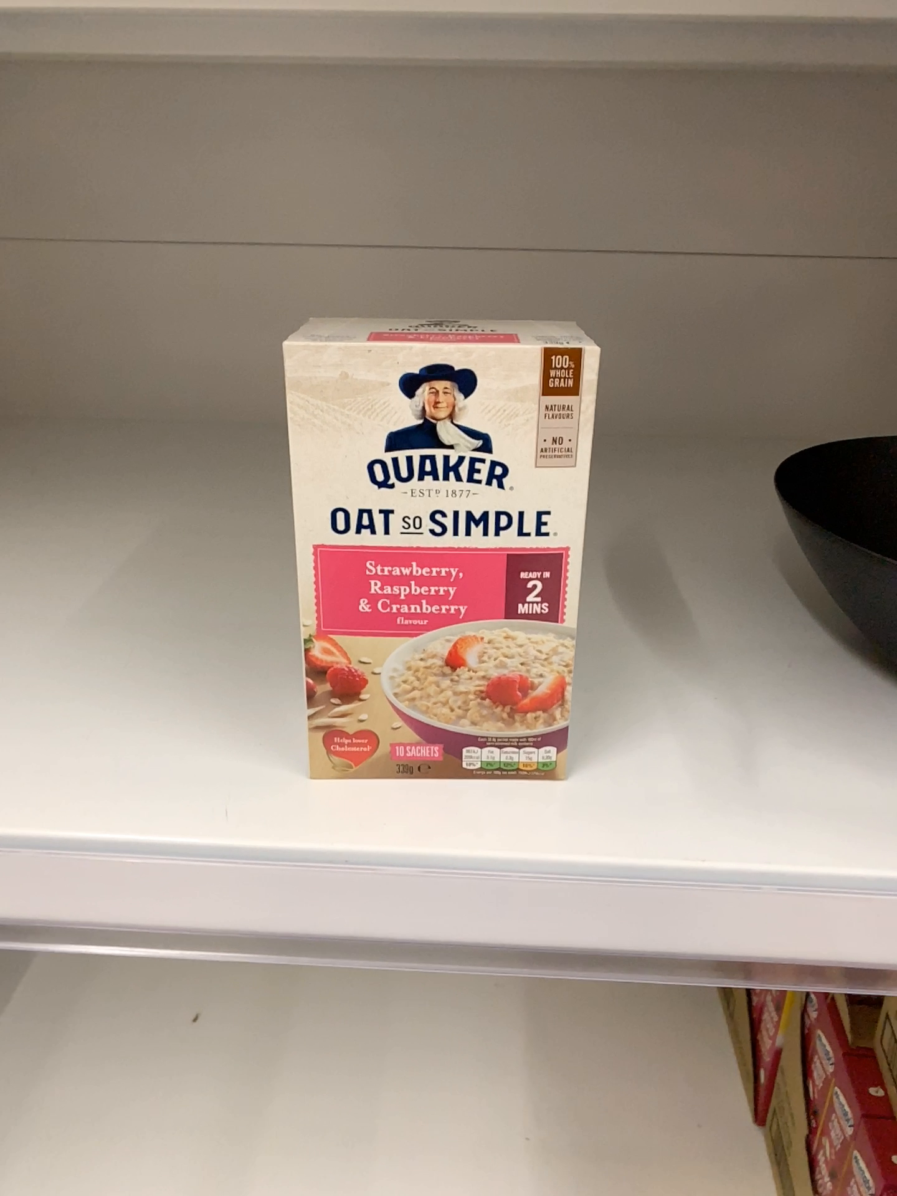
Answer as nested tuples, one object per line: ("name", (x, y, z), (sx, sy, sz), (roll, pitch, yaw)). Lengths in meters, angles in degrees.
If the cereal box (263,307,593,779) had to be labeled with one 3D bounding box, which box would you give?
("cereal box", (-0.011, -0.025, 0.442), (0.130, 0.208, 0.081), (1, 24, -2))
